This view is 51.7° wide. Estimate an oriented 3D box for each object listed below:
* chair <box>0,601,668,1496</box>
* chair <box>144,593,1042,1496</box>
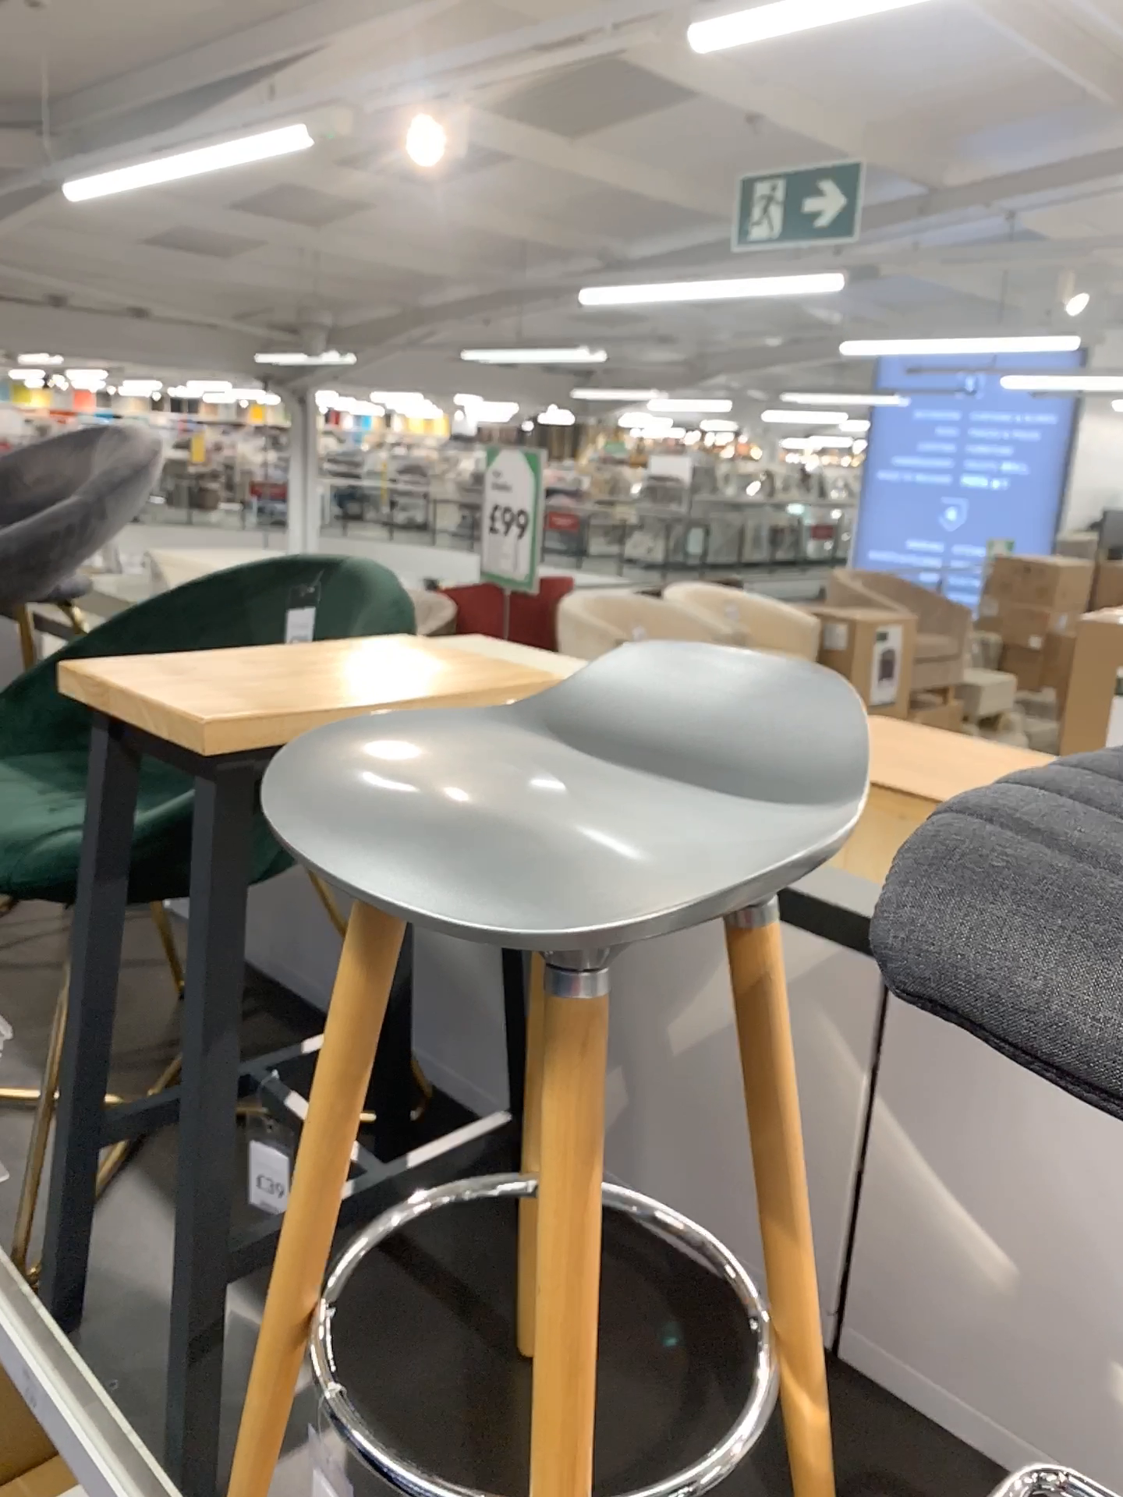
[{"bbox_3d":[-0.249,0.230,1.204,0.443,0.686,0.502,16,18,42],"label":"chair"},{"bbox_3d":[0.000,0.283,0.905,0.462,0.736,0.443,-9,18,-43],"label":"chair"}]
